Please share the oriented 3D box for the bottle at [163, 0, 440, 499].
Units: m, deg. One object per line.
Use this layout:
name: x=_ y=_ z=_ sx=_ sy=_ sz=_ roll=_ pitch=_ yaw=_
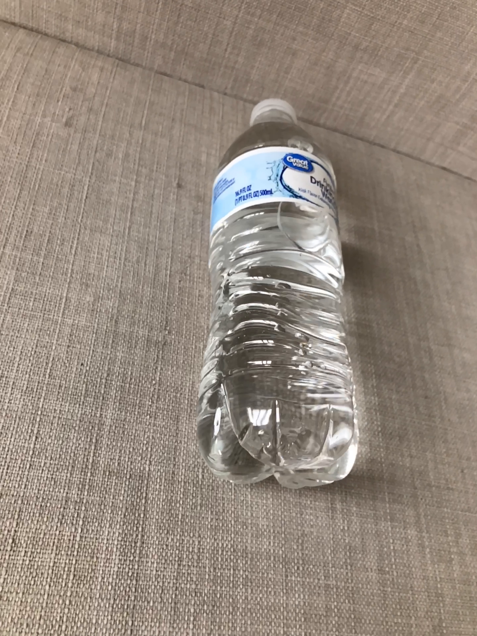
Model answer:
bottle: x=0.025 y=-0.042 z=0.261 sx=0.070 sy=0.080 sz=0.231 roll=33 pitch=47 yaw=-44
